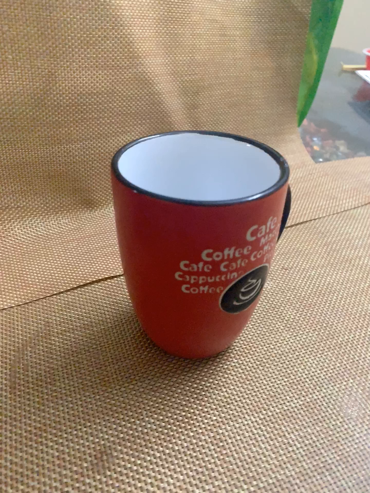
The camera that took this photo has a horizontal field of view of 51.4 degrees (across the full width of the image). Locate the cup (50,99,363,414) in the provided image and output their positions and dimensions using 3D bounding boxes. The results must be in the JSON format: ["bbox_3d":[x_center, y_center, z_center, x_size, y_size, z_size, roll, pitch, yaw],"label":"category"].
[{"bbox_3d":[0.014,-0.008,0.208,0.090,0.099,0.120,29,44,32],"label":"cup"}]
